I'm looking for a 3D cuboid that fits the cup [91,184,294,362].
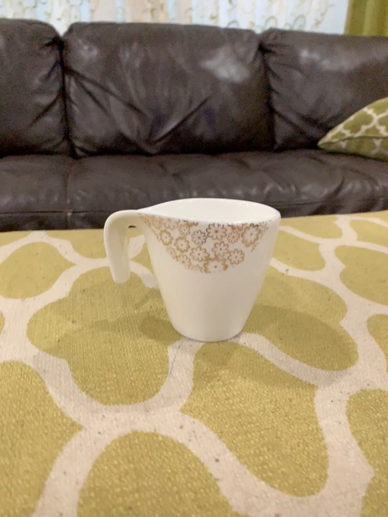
[{"bbox_3d":[0.004,0.002,0.267,0.108,0.079,0.089,4,22,8],"label":"cup"}]
